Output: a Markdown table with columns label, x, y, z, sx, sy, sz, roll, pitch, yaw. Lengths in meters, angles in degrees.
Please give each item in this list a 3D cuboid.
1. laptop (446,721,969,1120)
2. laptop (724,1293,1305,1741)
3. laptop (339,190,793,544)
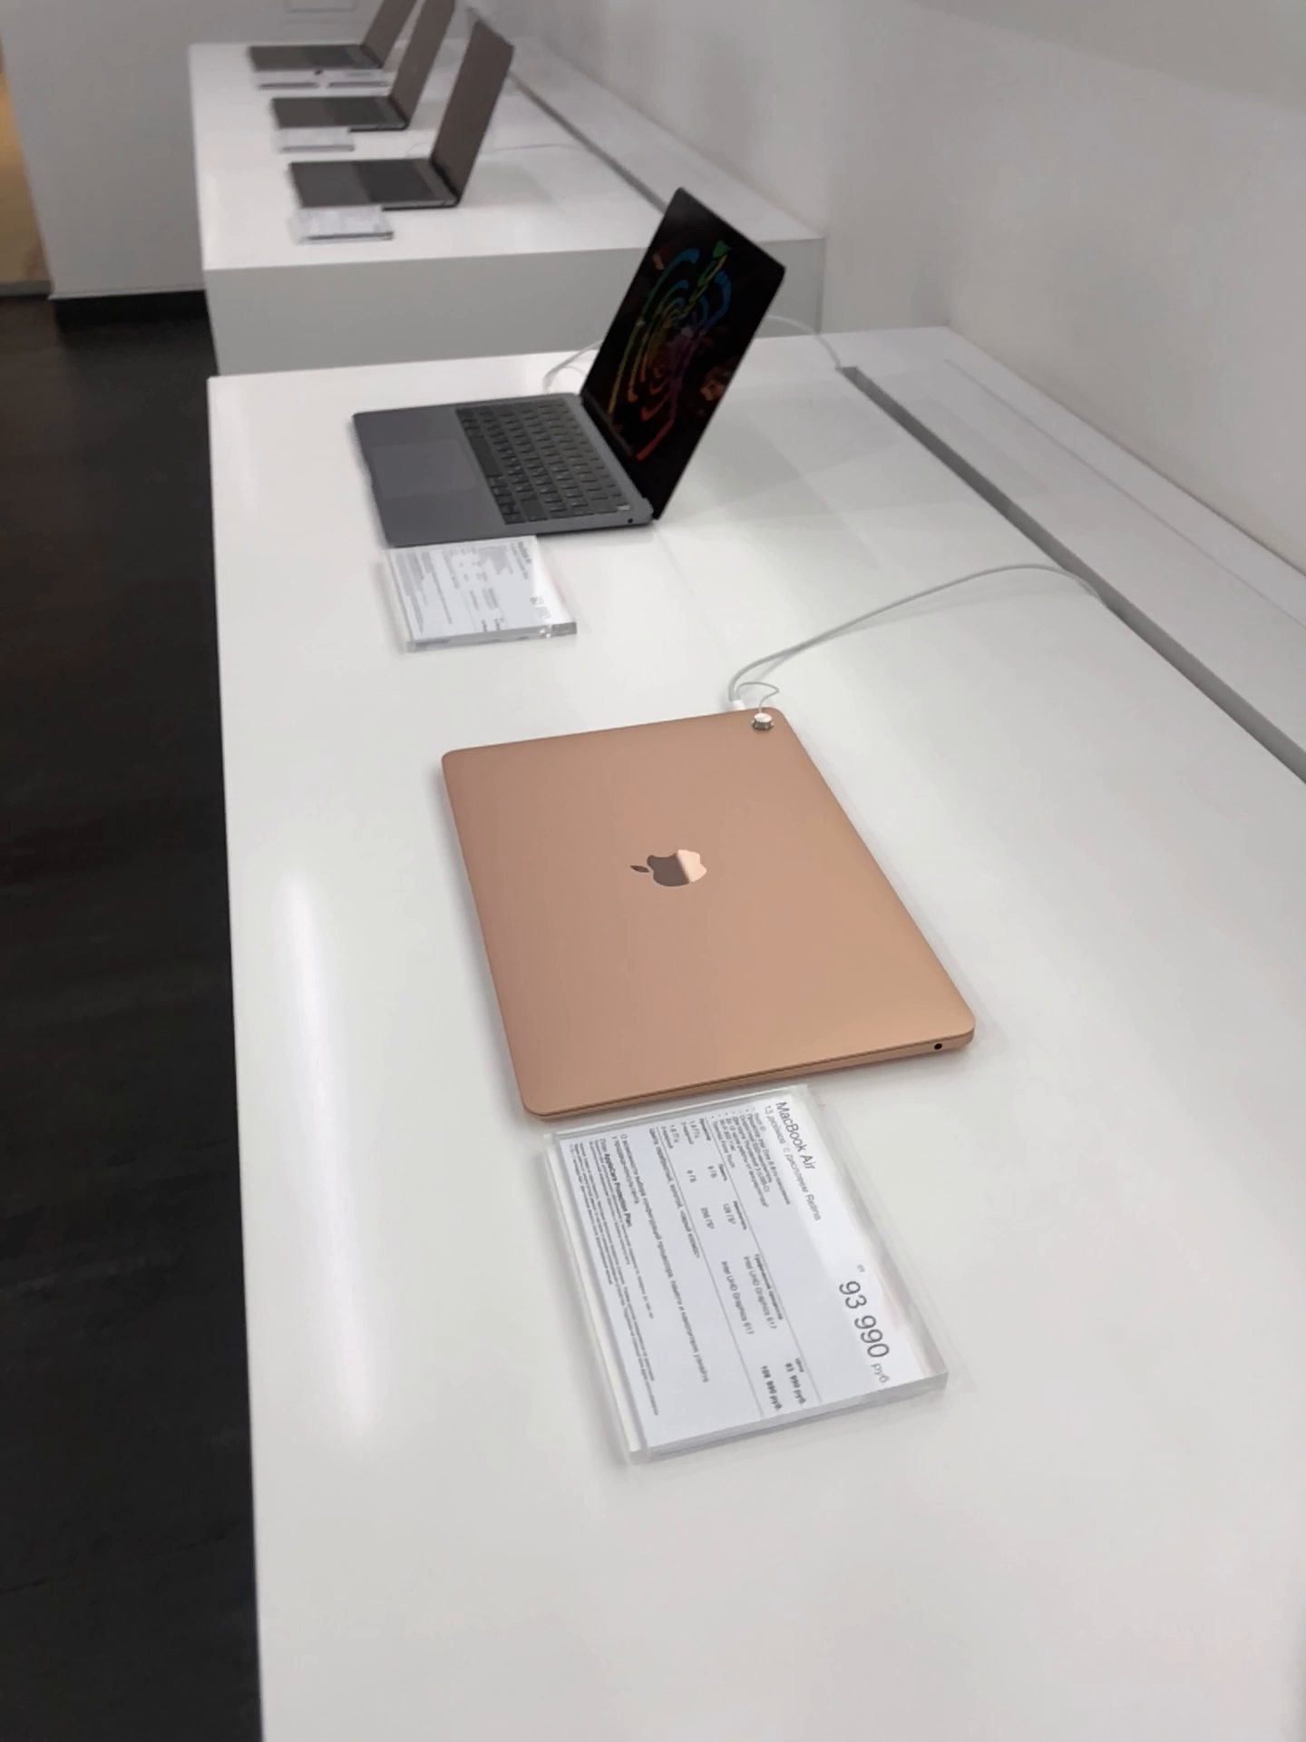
| label | x | y | z | sx | sy | sz | roll | pitch | yaw |
| --- | --- | --- | --- | --- | --- | --- | --- | --- | --- |
| laptop | 0.011 | 0.007 | 0.754 | 0.201 | 0.005 | 0.295 | -9 | 36 | -11 |
| laptop | 0.188 | 0.295 | 0.179 | 0.257 | 0.213 | 0.347 | -10 | 39 | -14 |
| laptop | -0.086 | -0.435 | 1.206 | 0.311 | 0.180 | 0.304 | -9 | 36 | -11 |
